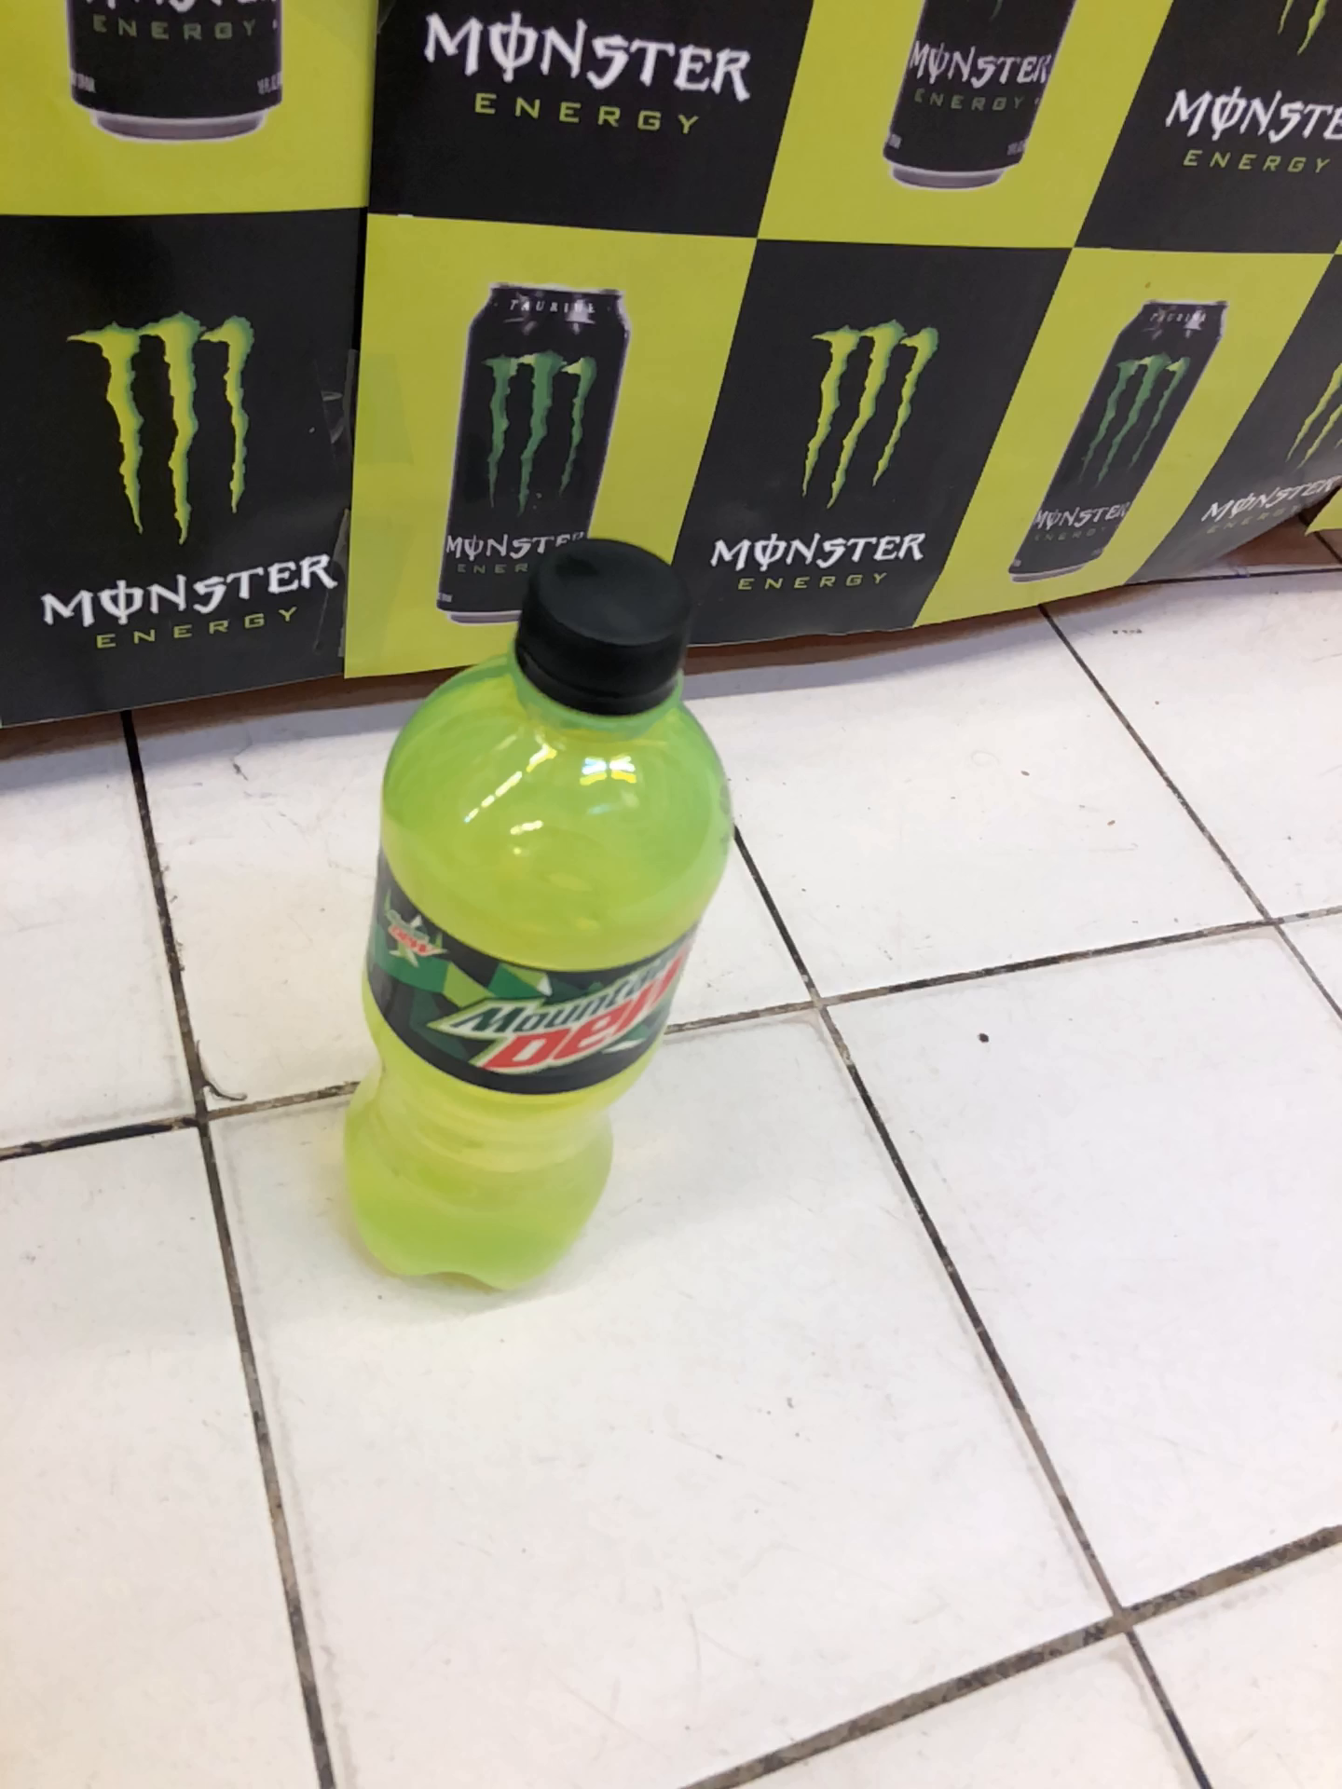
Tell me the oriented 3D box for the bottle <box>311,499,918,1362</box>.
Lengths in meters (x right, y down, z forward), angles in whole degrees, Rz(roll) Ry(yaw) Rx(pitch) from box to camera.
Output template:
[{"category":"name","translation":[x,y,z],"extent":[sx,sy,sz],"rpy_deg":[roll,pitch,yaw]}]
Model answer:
[{"category":"bottle","translation":[-0.028,0.019,0.327],"extent":[0.080,0.199,0.070],"rpy_deg":[-8,52,-23]}]
